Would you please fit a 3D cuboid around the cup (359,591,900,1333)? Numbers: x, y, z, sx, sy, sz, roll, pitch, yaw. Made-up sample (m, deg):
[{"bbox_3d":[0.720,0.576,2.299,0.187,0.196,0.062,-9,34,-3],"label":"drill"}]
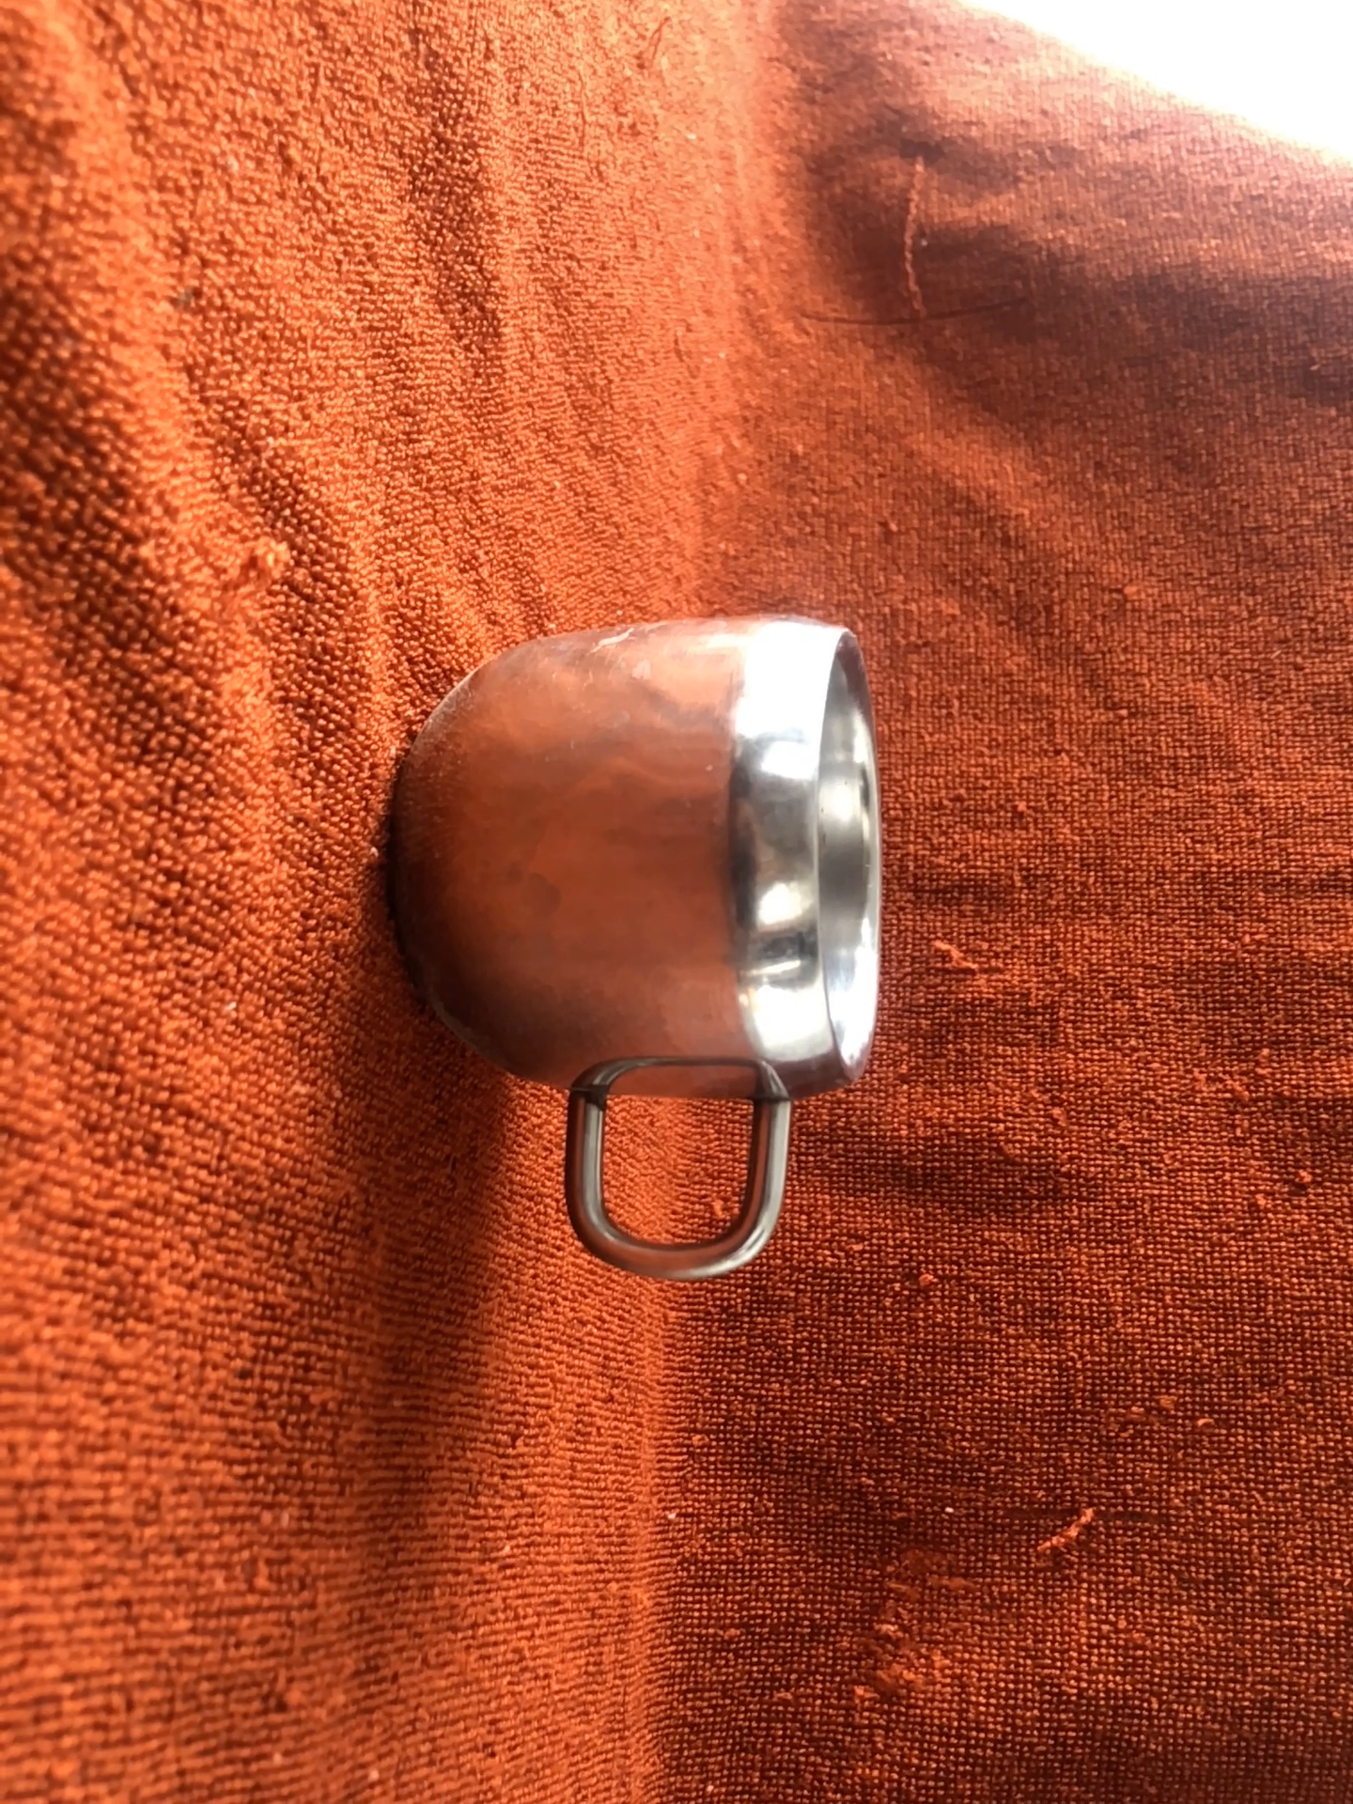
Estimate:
[{"bbox_3d":[-0.003,0.007,0.219,0.060,0.060,0.090,-9,98,-74],"label":"cup"}]
